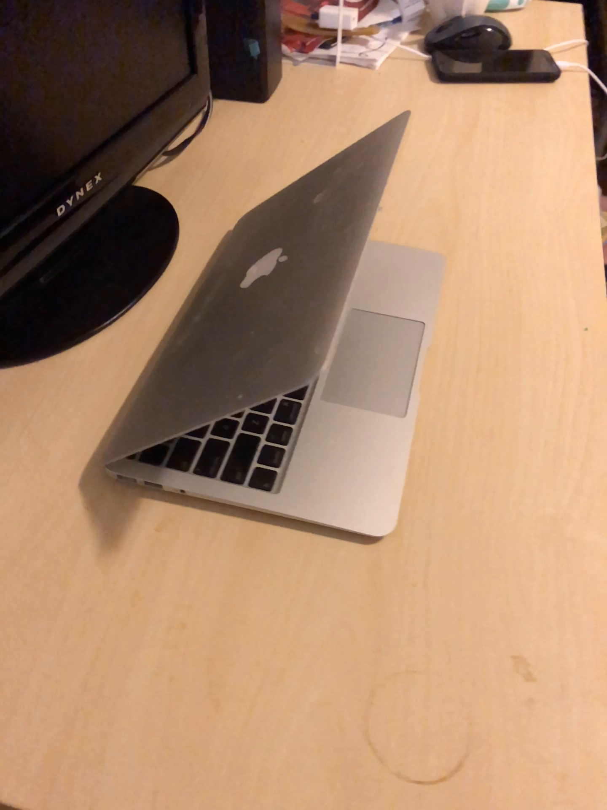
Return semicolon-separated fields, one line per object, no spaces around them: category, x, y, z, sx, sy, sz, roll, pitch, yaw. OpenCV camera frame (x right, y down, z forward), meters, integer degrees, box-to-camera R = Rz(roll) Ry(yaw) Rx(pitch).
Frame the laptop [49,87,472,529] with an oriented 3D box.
laptop;-0.003;-0.088;0.464;0.189;0.127;0.288;11;49;9
